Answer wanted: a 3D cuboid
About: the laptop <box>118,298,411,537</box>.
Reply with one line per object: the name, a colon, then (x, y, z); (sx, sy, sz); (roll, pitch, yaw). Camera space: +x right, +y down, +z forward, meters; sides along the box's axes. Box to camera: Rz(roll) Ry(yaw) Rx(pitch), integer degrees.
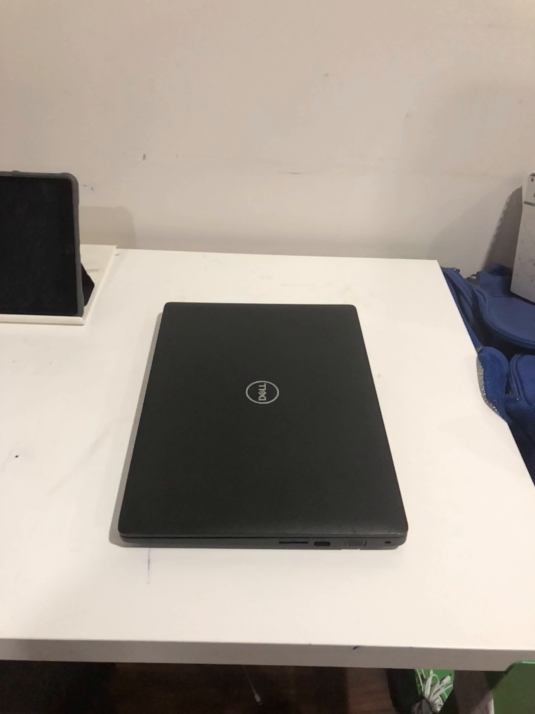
laptop: (-0.005, 0.038, 0.614); (0.241, 0.010, 0.334); (-1, 40, 0)
